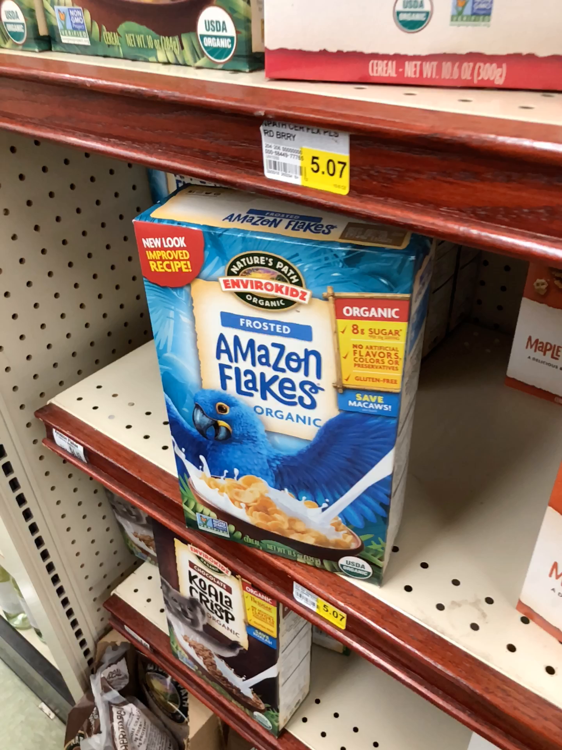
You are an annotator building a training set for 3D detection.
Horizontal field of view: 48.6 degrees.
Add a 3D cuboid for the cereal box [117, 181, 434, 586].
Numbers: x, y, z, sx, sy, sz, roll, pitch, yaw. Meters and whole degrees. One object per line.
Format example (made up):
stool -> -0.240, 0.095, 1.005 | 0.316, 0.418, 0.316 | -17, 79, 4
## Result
cereal box -> 0.004, 0.016, 0.414 | 0.160, 0.259, 0.060 | 11, 40, 20
